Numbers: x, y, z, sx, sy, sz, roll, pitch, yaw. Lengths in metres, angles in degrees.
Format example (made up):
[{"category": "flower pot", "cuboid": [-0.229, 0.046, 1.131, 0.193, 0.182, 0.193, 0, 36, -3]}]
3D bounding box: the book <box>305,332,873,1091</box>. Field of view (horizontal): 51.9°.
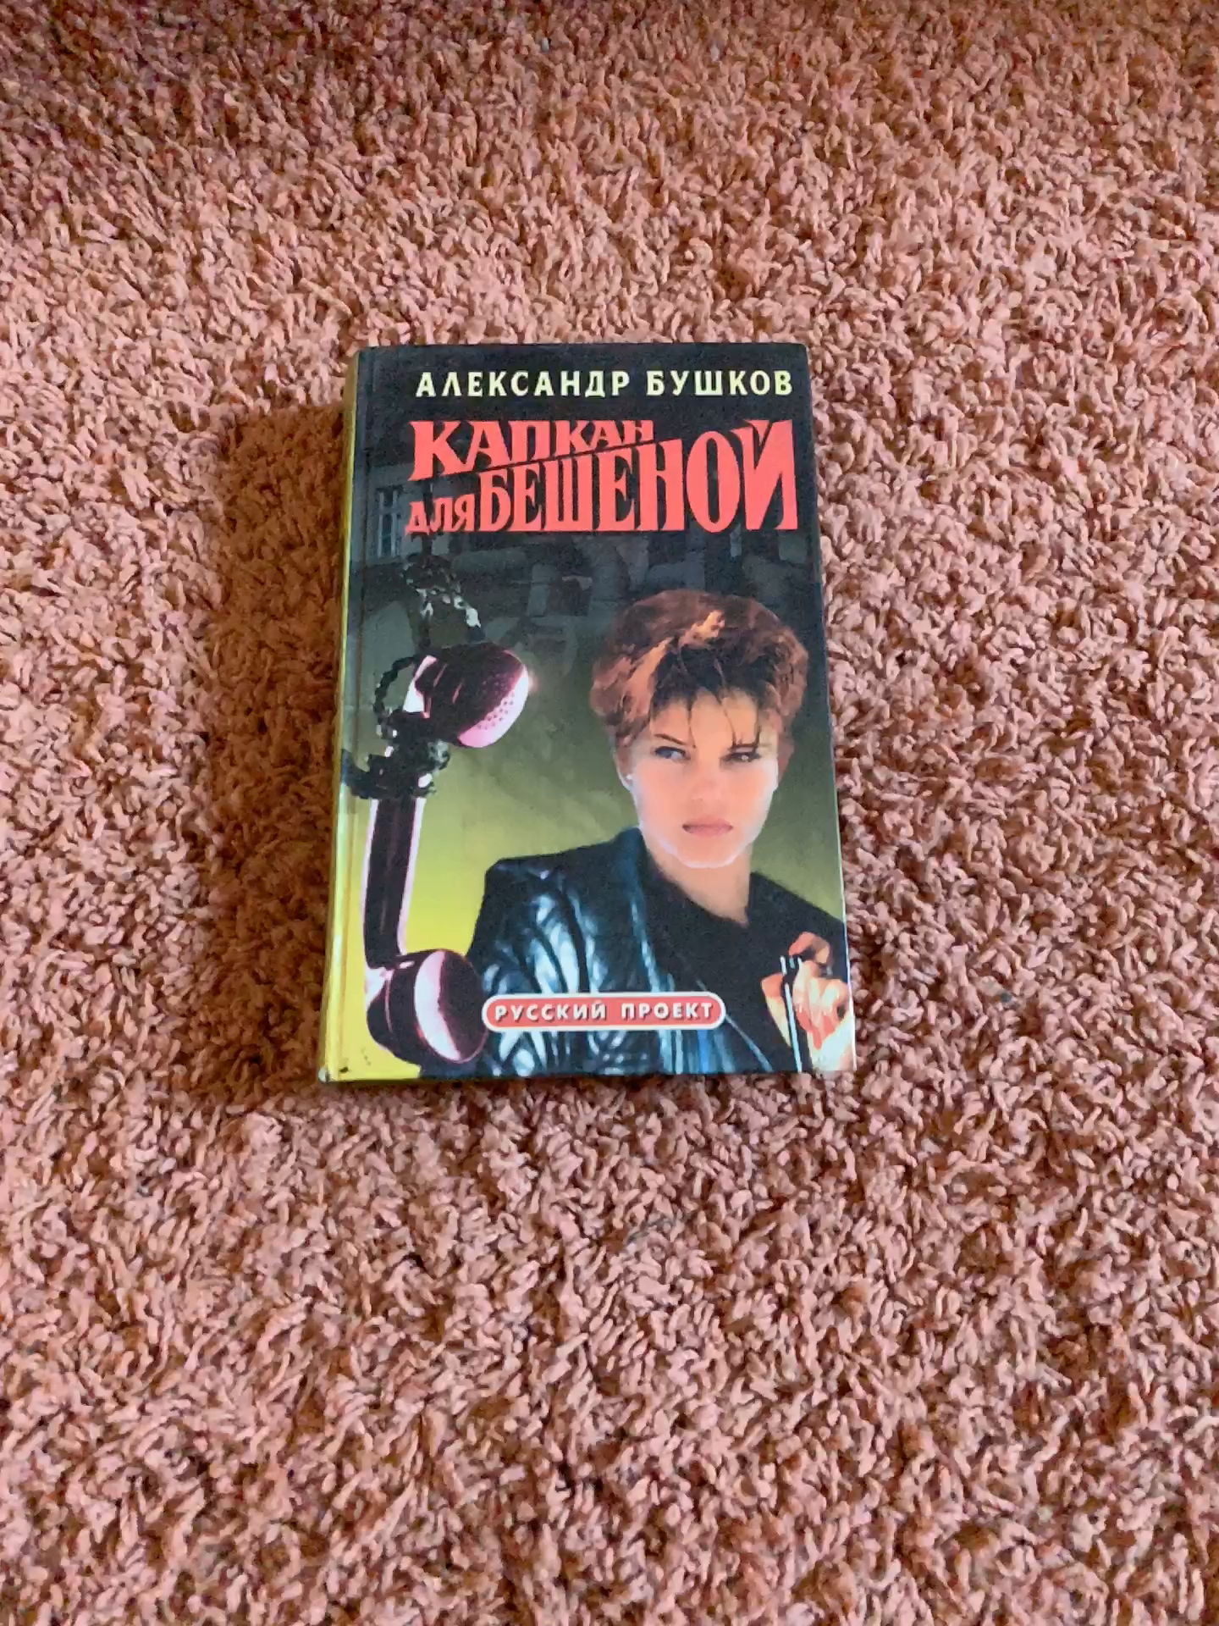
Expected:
[{"category": "book", "cuboid": [-0.006, -0.030, 0.314, 0.124, 0.027, 0.191, -1, 74, -1]}]
